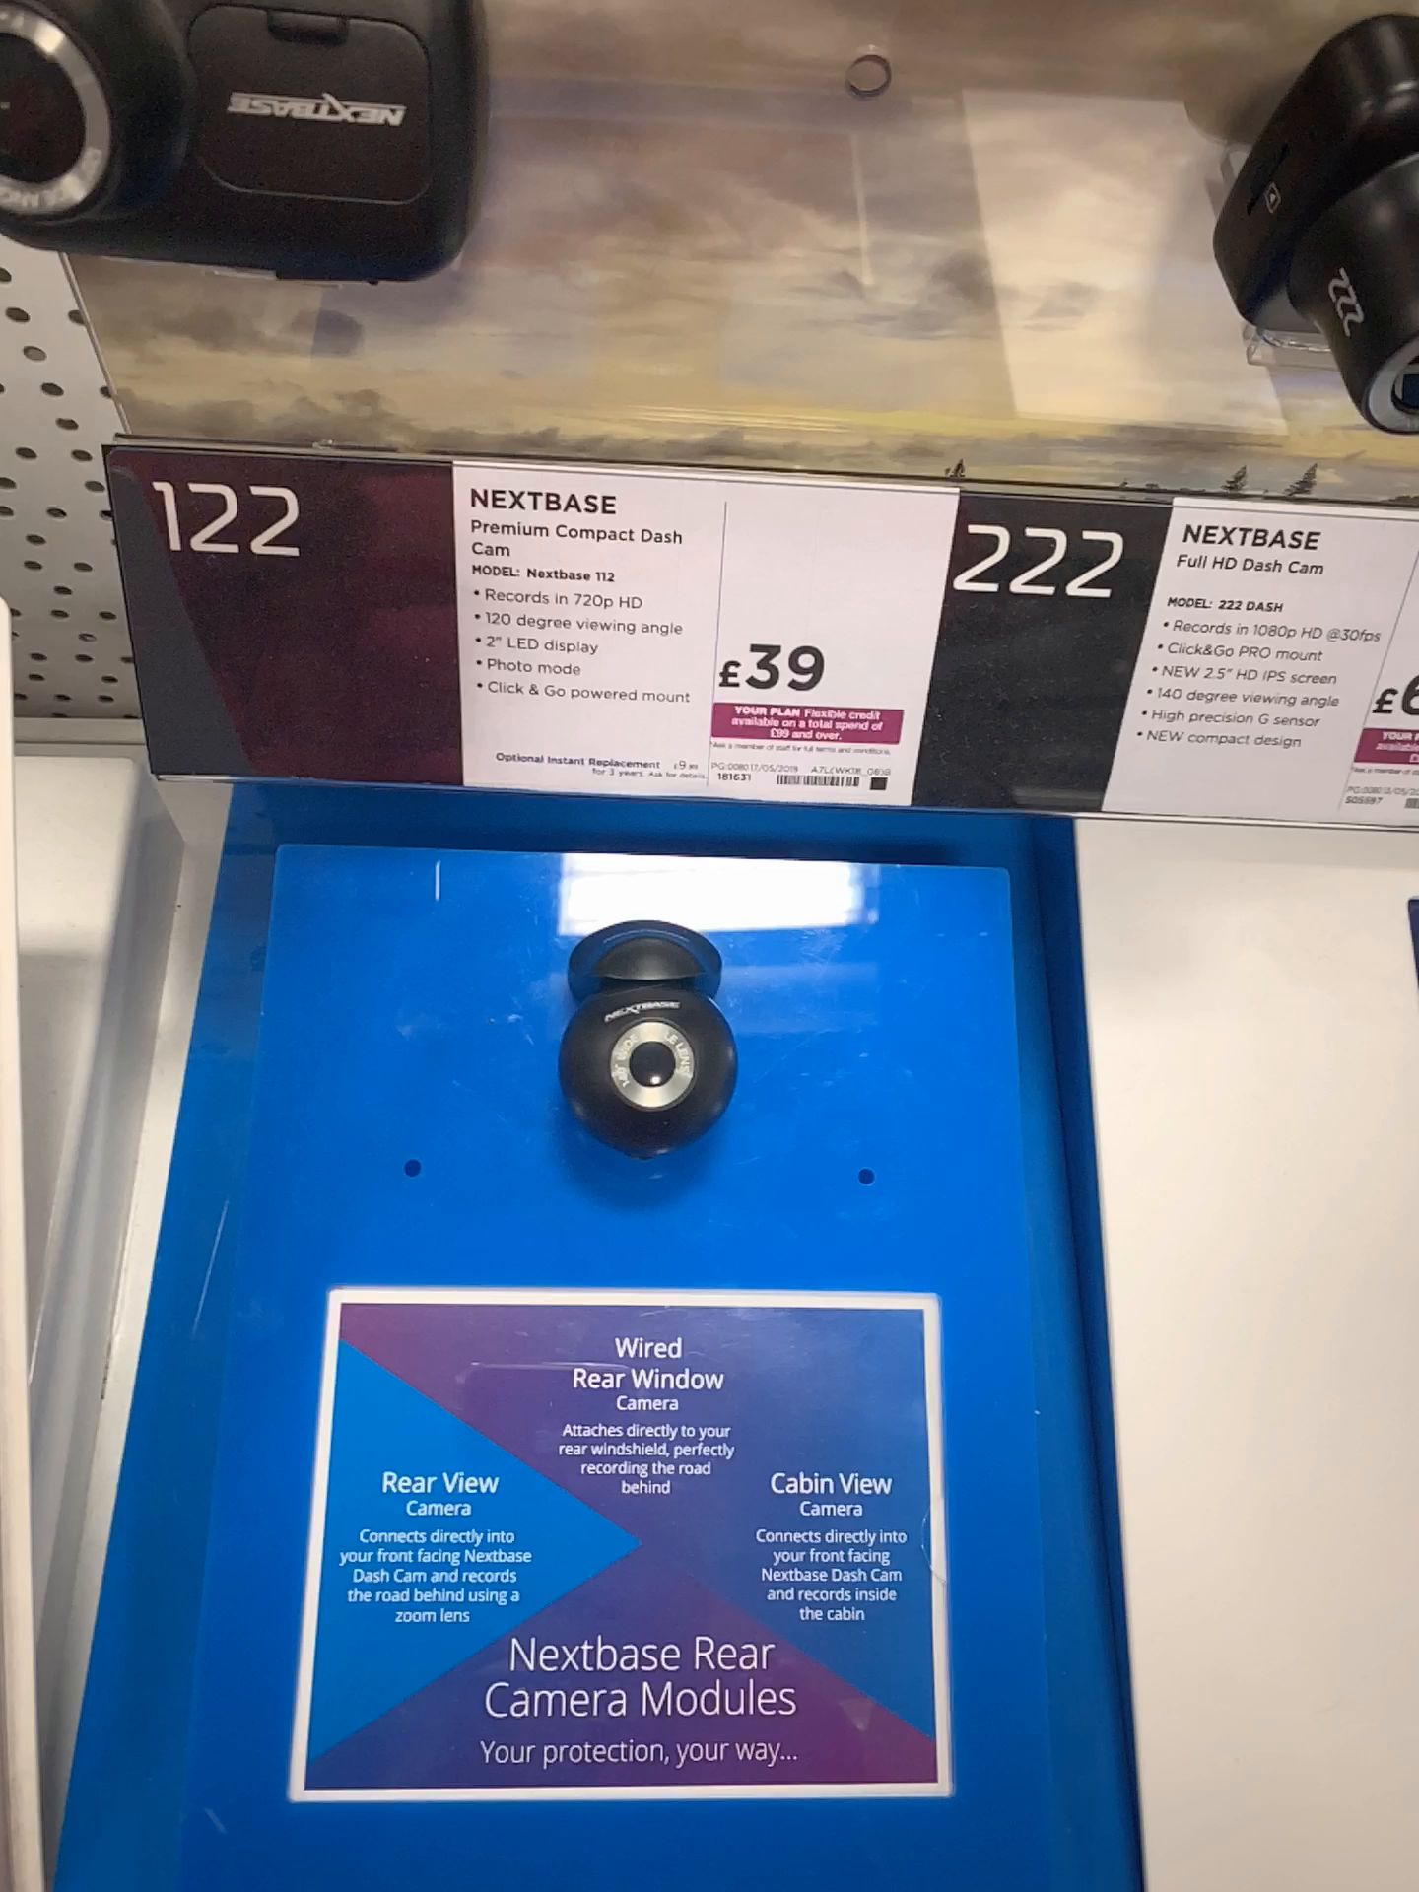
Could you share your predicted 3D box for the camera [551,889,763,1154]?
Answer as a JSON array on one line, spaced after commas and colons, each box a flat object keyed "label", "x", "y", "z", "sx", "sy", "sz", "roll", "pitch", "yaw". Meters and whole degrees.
[{"label": "camera", "x": -0.011, "y": 0.018, "z": 0.306, "sx": 0.040, "sy": 0.050, "sz": 0.050, "roll": 1, "pitch": 81, "yaw": -4}]
